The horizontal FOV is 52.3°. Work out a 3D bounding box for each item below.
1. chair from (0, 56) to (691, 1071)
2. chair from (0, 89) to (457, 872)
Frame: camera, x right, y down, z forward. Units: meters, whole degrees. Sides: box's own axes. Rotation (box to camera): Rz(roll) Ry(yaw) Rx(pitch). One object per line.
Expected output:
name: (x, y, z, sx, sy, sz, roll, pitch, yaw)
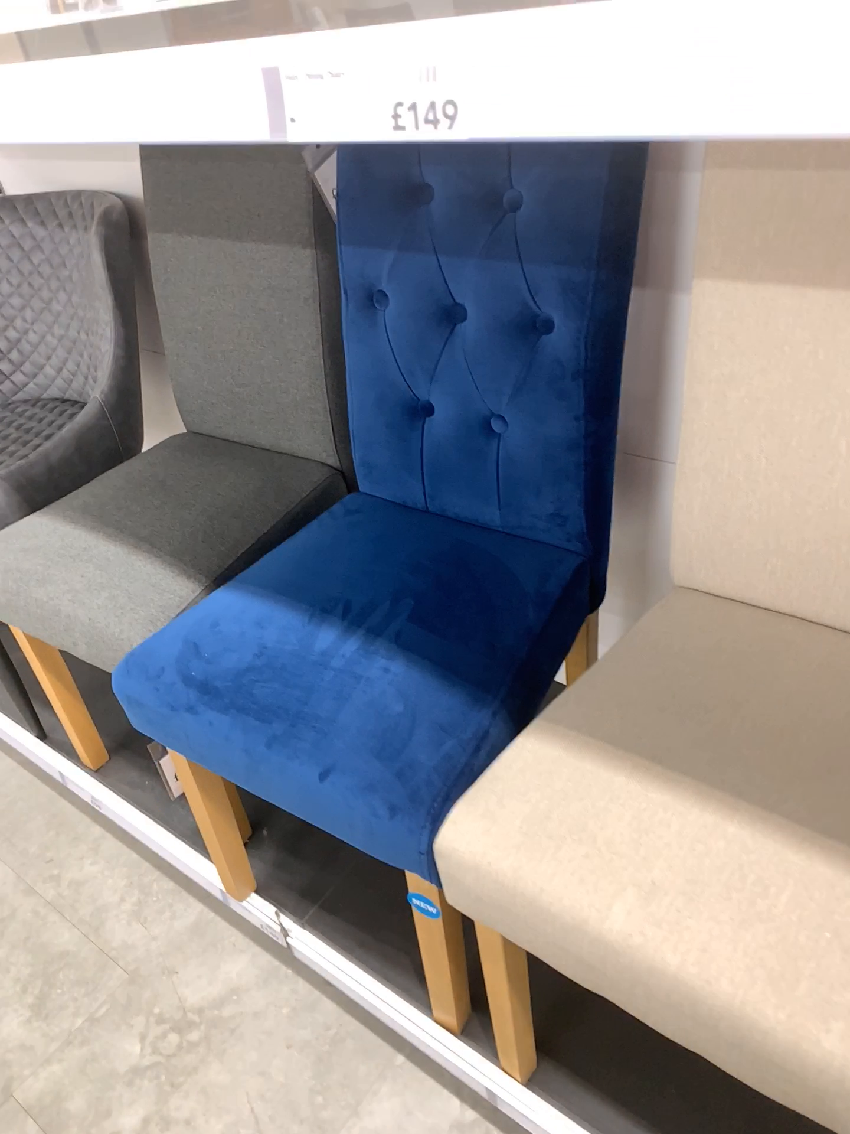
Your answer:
chair: (-0.033, 0.008, 0.988, 0.434, 0.929, 0.522, 18, 45, 32)
chair: (-0.333, -0.139, 1.289, 0.414, 0.889, 0.623, 15, 43, 29)
